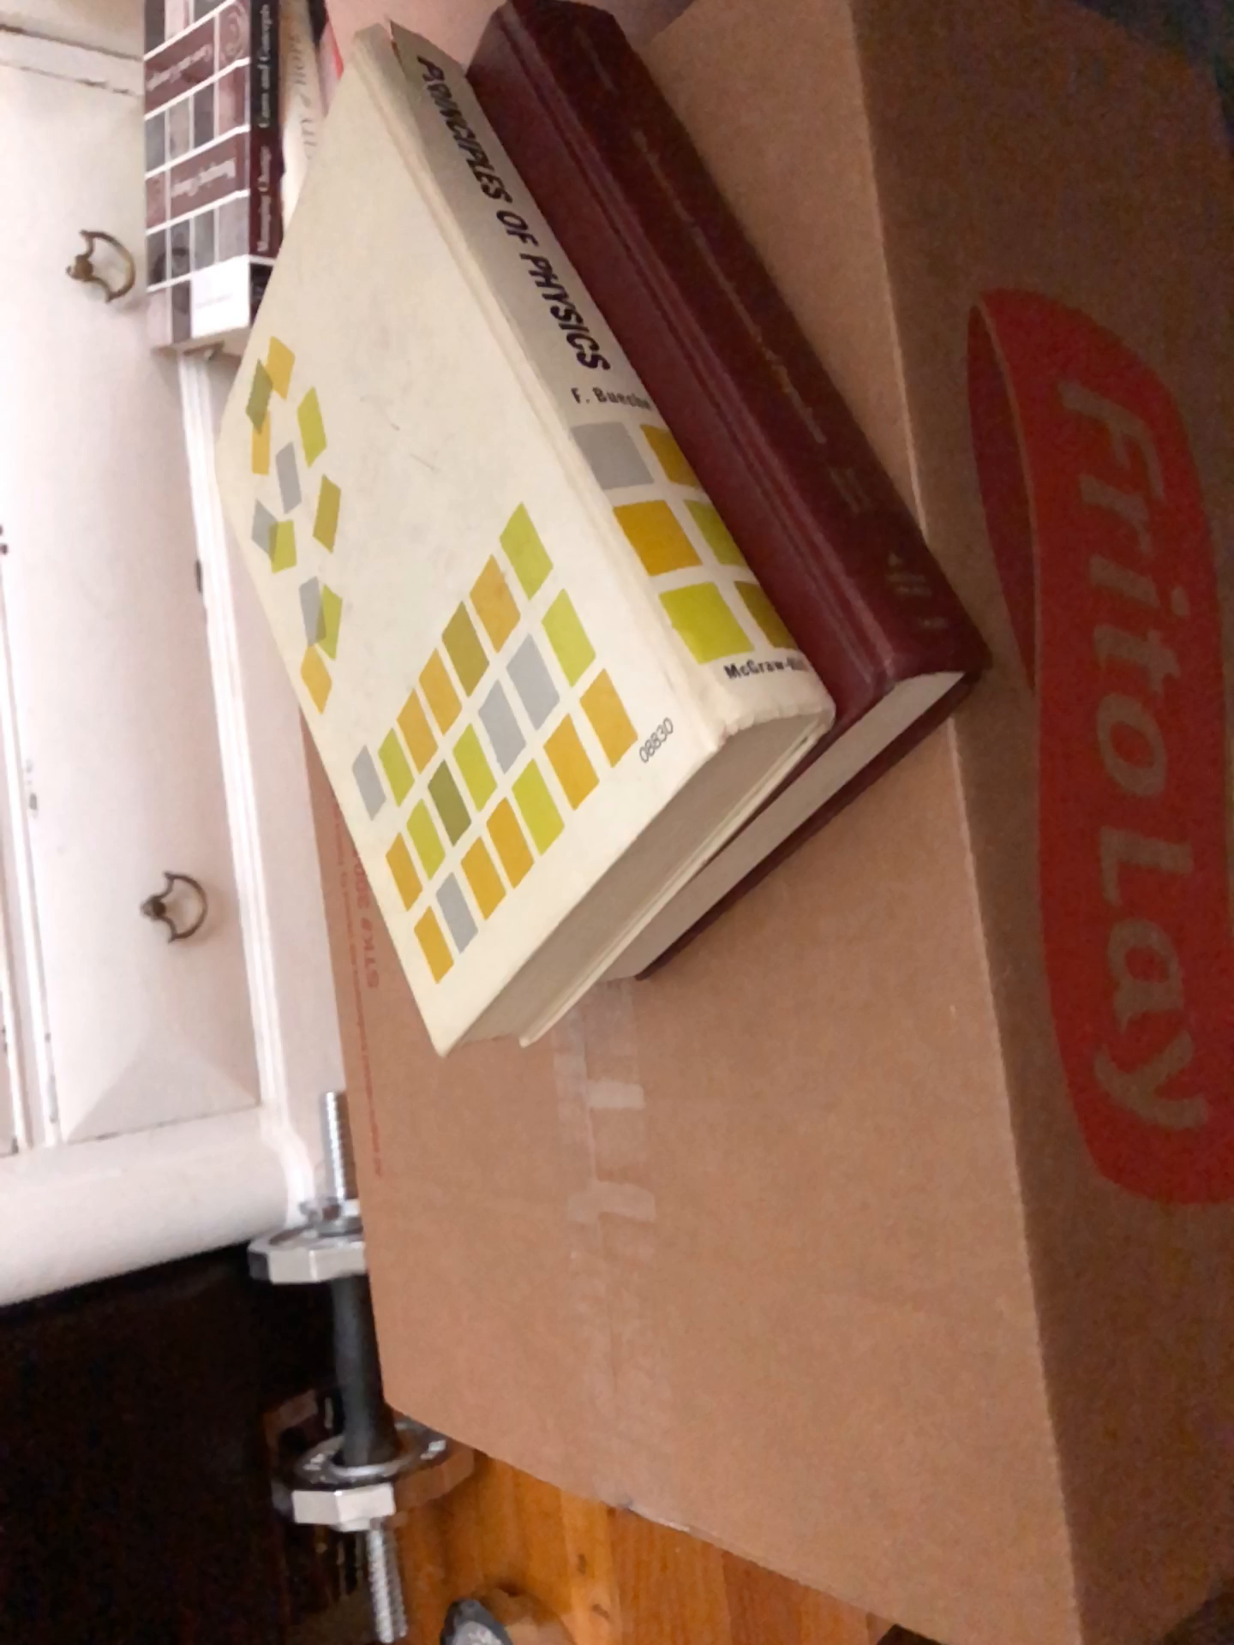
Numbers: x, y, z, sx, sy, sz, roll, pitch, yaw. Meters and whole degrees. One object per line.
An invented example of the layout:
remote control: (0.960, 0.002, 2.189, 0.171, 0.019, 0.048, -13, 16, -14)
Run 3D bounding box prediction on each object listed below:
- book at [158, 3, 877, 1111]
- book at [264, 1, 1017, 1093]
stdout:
book: (-0.054, -0.071, 0.398, 0.180, 0.040, 0.250, -48, 59, 43)
book: (-0.019, -0.073, 0.405, 0.181, 0.040, 0.250, -45, 62, 44)
